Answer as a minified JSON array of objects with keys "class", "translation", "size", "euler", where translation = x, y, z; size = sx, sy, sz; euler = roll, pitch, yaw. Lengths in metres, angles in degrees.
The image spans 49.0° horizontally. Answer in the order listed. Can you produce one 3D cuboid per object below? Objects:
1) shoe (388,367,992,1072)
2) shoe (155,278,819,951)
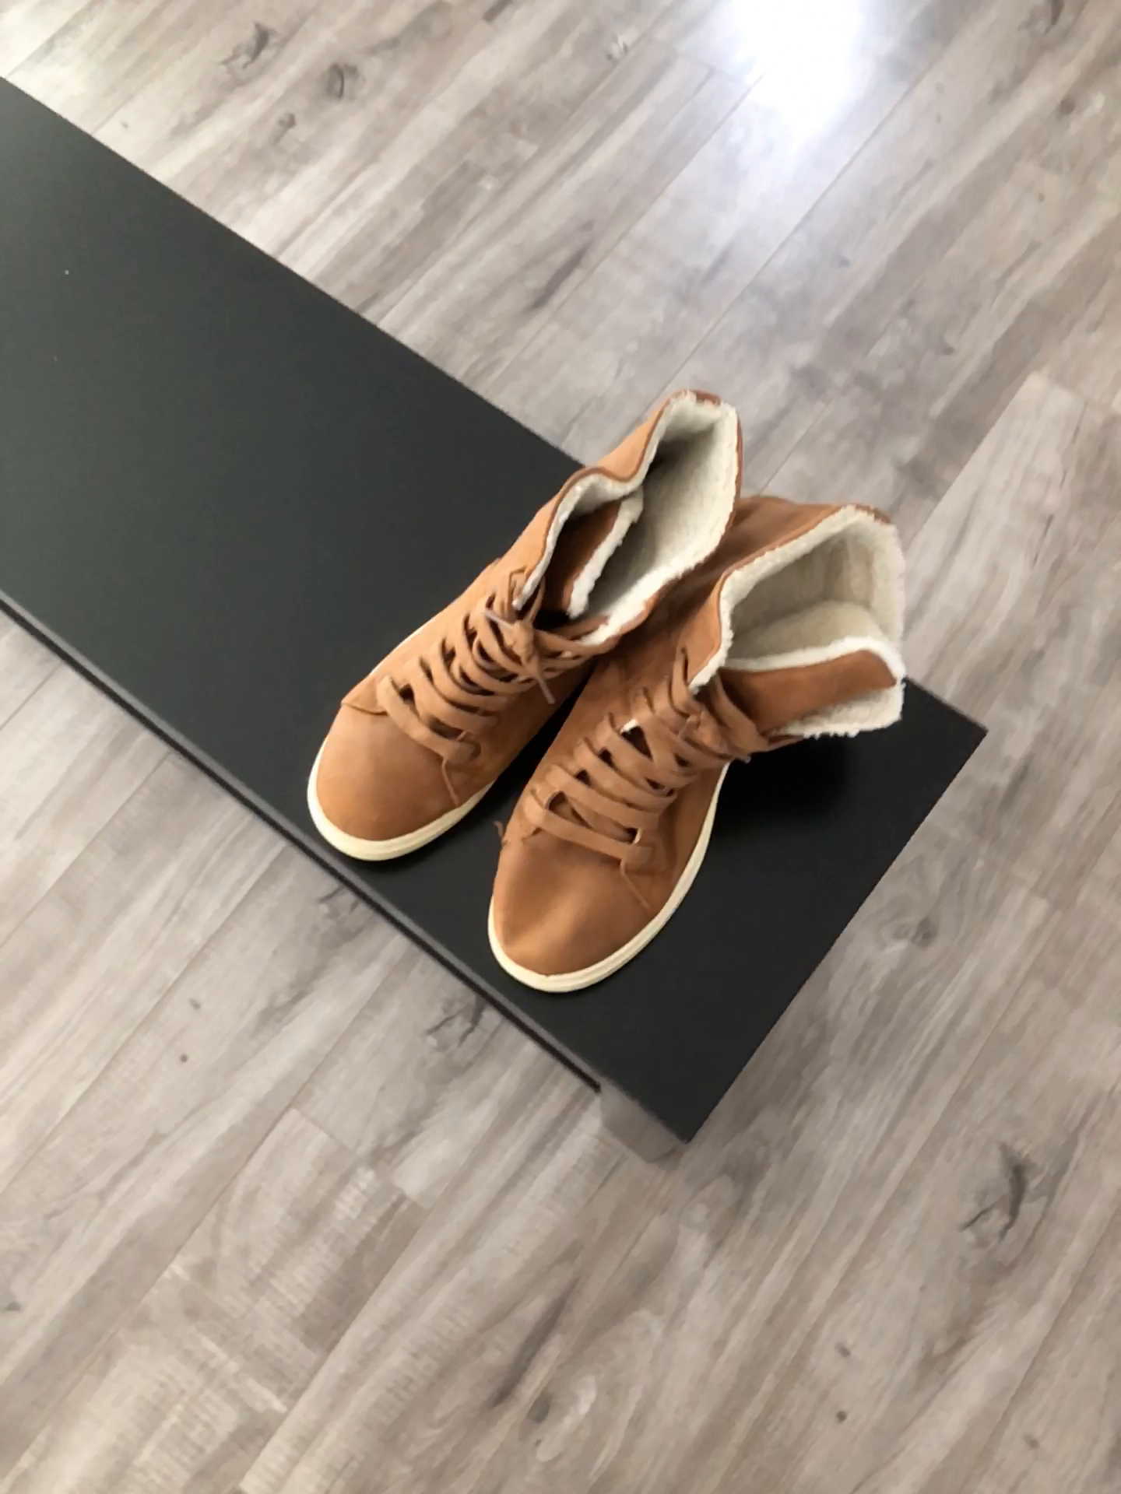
[{"class":"shoe","translation":[0.057,-0.007,0.540],"size":[0.110,0.140,0.260],"euler":[32,74,13]},{"class":"shoe","translation":[-0.023,-0.053,0.557],"size":[0.110,0.150,0.260],"euler":[43,76,15]}]
